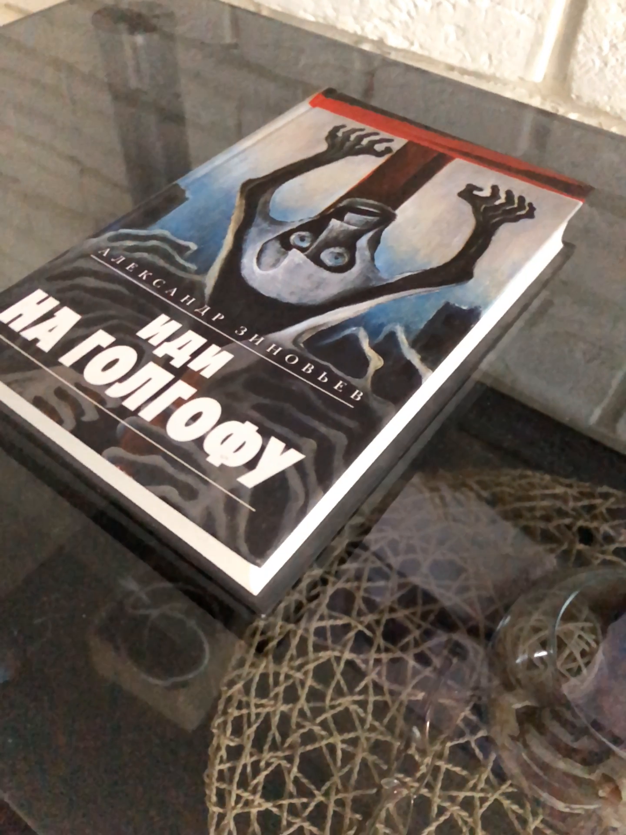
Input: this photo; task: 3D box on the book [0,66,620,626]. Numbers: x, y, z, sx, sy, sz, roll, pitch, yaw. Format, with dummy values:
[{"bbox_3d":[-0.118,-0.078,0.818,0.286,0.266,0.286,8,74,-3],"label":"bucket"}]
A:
[{"bbox_3d":[-0.006,-0.052,0.239,0.140,0.030,0.201,32,56,23],"label":"book"}]
